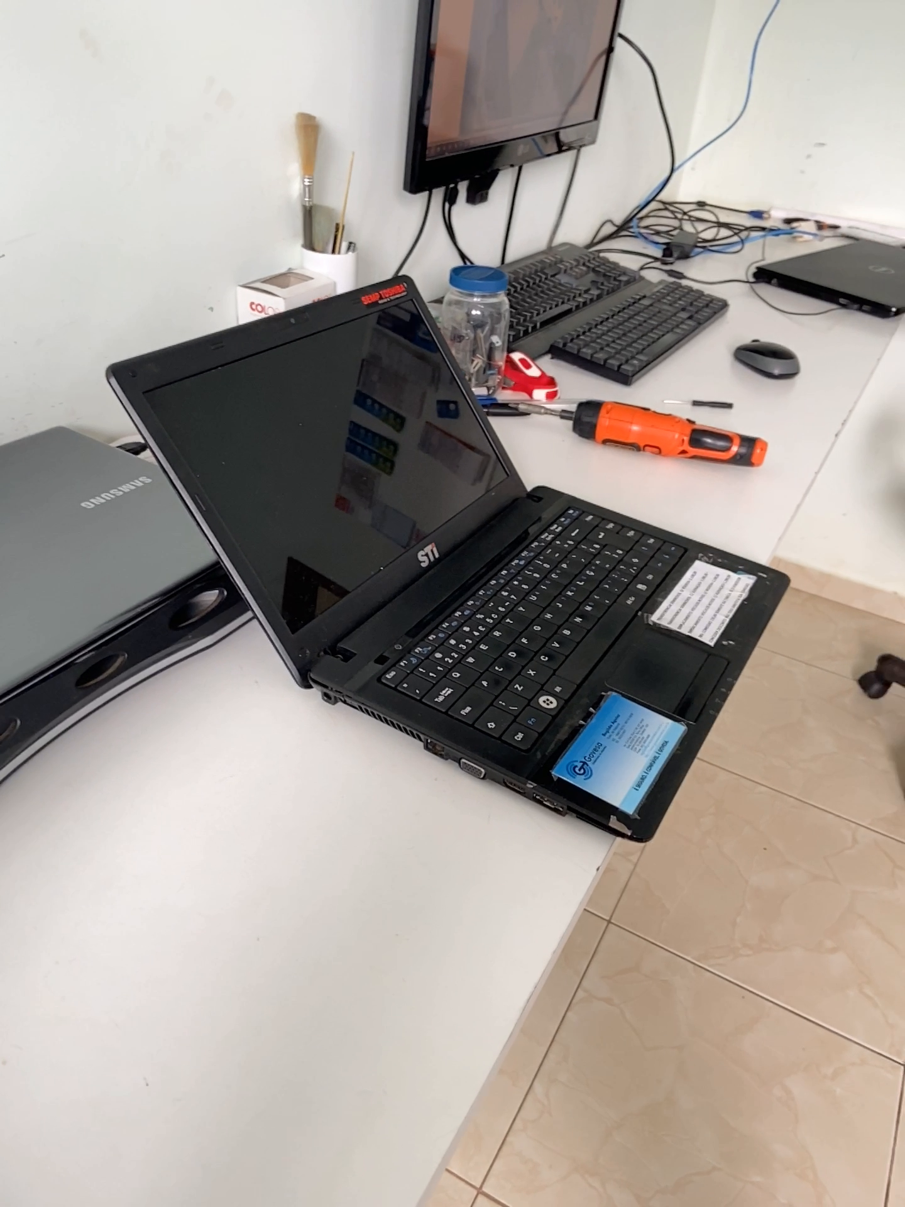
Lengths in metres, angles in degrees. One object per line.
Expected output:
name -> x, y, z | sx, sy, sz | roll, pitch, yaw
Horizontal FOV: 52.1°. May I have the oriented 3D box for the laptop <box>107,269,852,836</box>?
laptop -> 0.033, -0.083, 0.656 | 0.384, 0.159, 0.336 | 22, 37, 22
